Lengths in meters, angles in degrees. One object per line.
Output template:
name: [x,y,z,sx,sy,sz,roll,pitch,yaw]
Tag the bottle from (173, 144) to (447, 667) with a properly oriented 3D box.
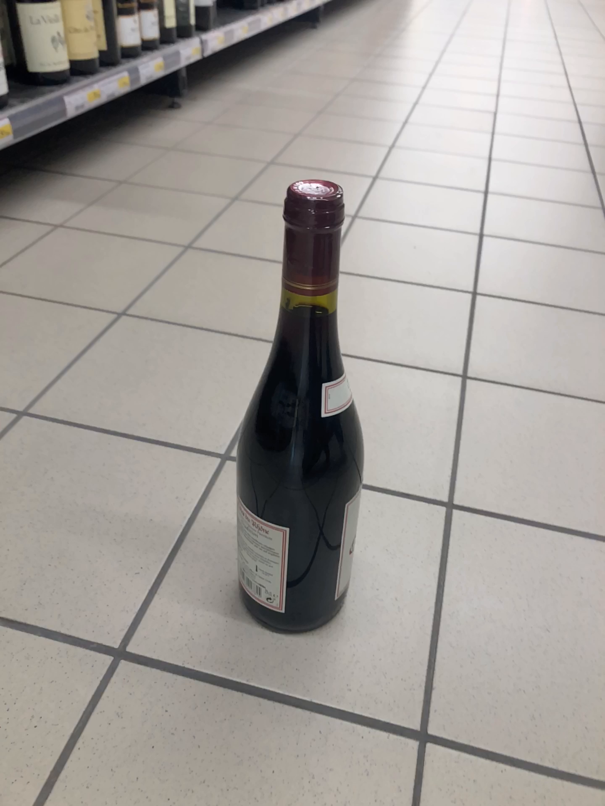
bottle: [-0.004,0.014,0.392,0.091,0.288,0.090,2,36,-2]
